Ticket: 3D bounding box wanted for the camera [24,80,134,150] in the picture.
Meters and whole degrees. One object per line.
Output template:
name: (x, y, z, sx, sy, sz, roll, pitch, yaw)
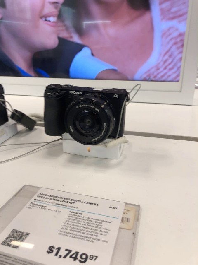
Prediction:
camera: (-0.023, -0.028, 0.303, 0.130, 0.070, 0.060, 6, 23, 15)
